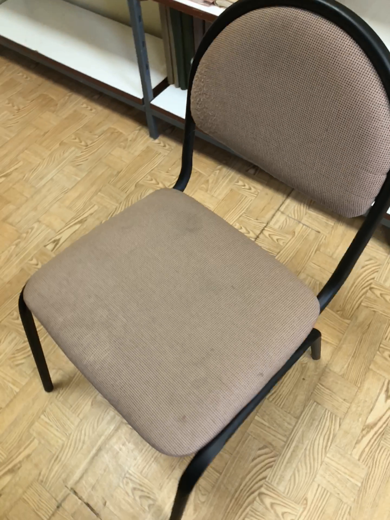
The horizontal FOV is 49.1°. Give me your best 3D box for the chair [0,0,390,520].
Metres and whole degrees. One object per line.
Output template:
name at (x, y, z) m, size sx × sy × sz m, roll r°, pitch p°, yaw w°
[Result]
chair at (-0.032, 0.057, 0.735) m, size 0.479 × 0.769 × 0.575 m, roll 39°, pitch 68°, yaw 23°
